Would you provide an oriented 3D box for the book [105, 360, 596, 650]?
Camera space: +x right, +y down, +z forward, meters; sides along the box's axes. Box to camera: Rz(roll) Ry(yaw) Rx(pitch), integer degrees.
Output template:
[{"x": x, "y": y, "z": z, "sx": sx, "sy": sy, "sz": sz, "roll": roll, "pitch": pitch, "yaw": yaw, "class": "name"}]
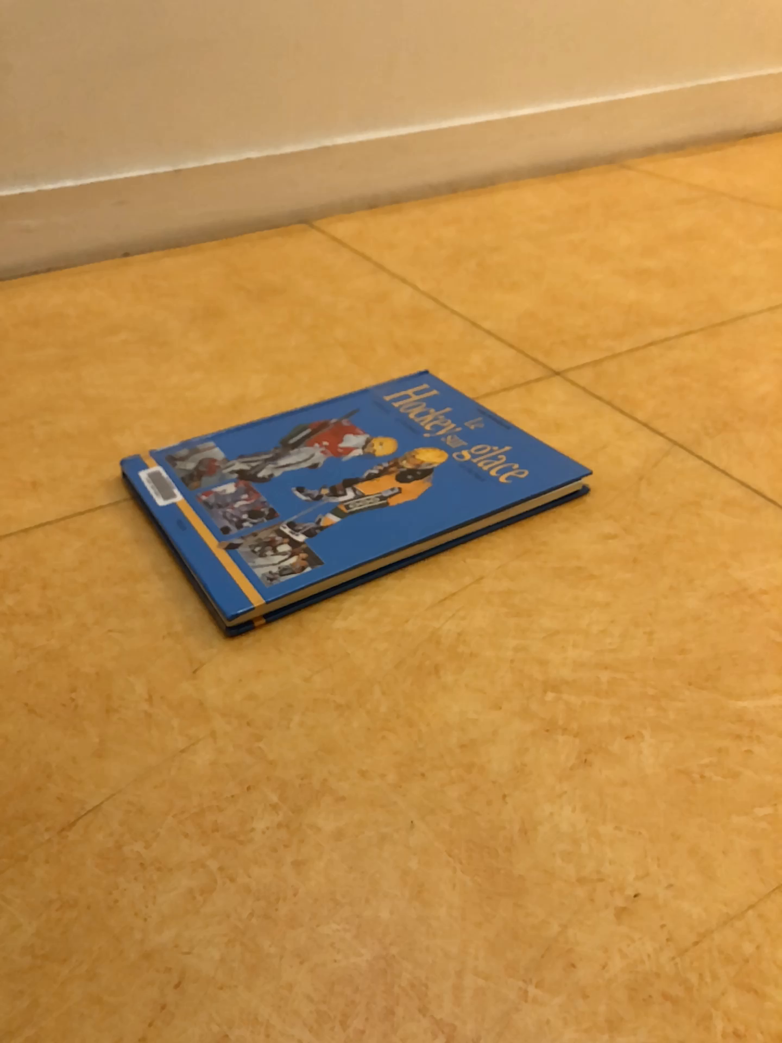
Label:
[{"x": -0.033, "y": -0.032, "z": 0.584, "sx": 0.261, "sy": 0.020, "sz": 0.211, "roll": -21, "pitch": 39, "yaw": -24, "class": "book"}]
